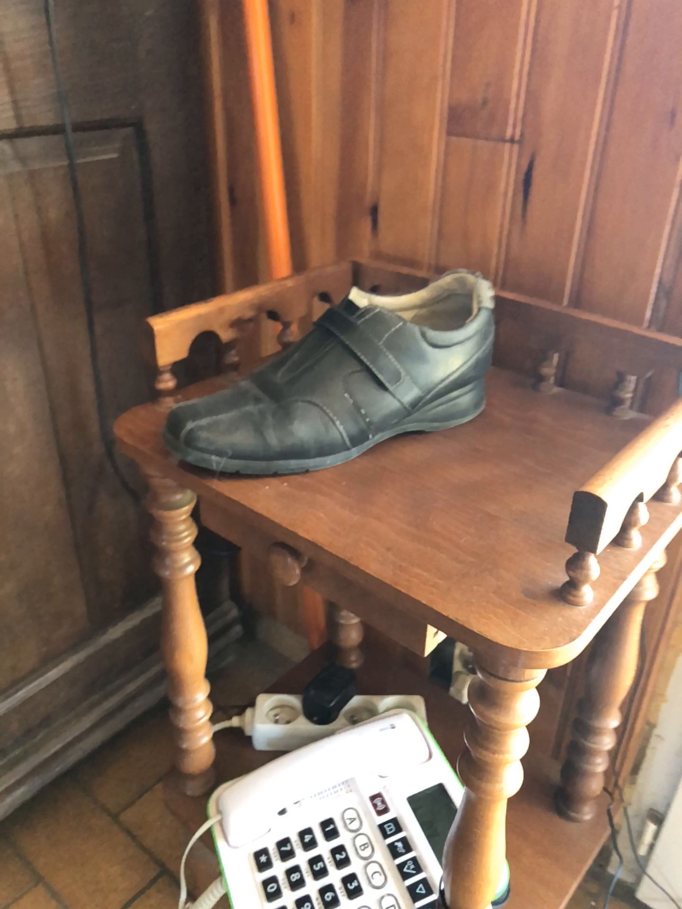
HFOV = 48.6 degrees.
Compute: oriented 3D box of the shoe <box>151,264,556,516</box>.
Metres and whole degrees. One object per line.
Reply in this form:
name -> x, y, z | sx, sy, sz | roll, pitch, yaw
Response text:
shoe -> 0.010, -0.055, 0.523 | 0.251, 0.099, 0.100 | -13, 33, -24
